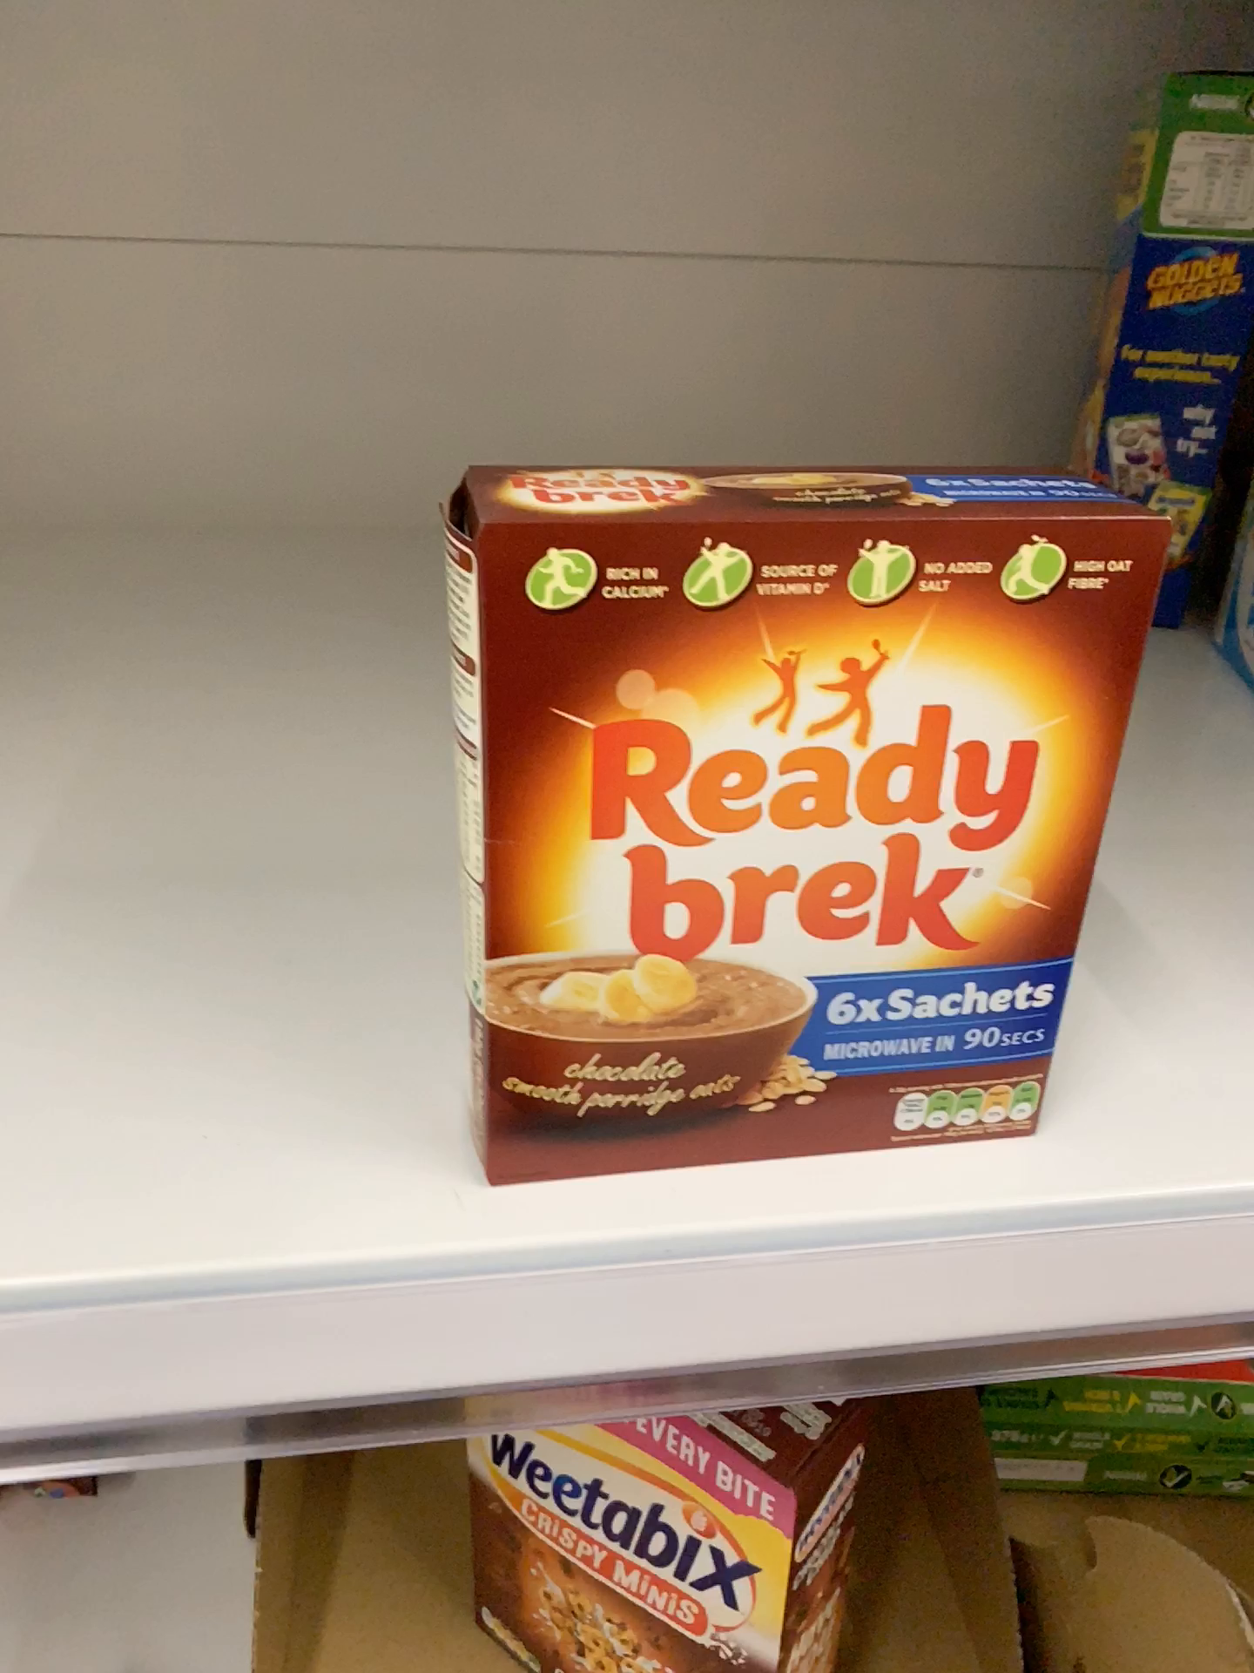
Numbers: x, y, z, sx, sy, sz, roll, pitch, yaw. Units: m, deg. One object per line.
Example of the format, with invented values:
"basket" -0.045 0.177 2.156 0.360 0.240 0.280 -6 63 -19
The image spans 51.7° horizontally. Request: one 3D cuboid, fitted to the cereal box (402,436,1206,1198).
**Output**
"cereal box" 0.035 -0.004 0.348 0.180 0.188 0.061 -2 27 -9
